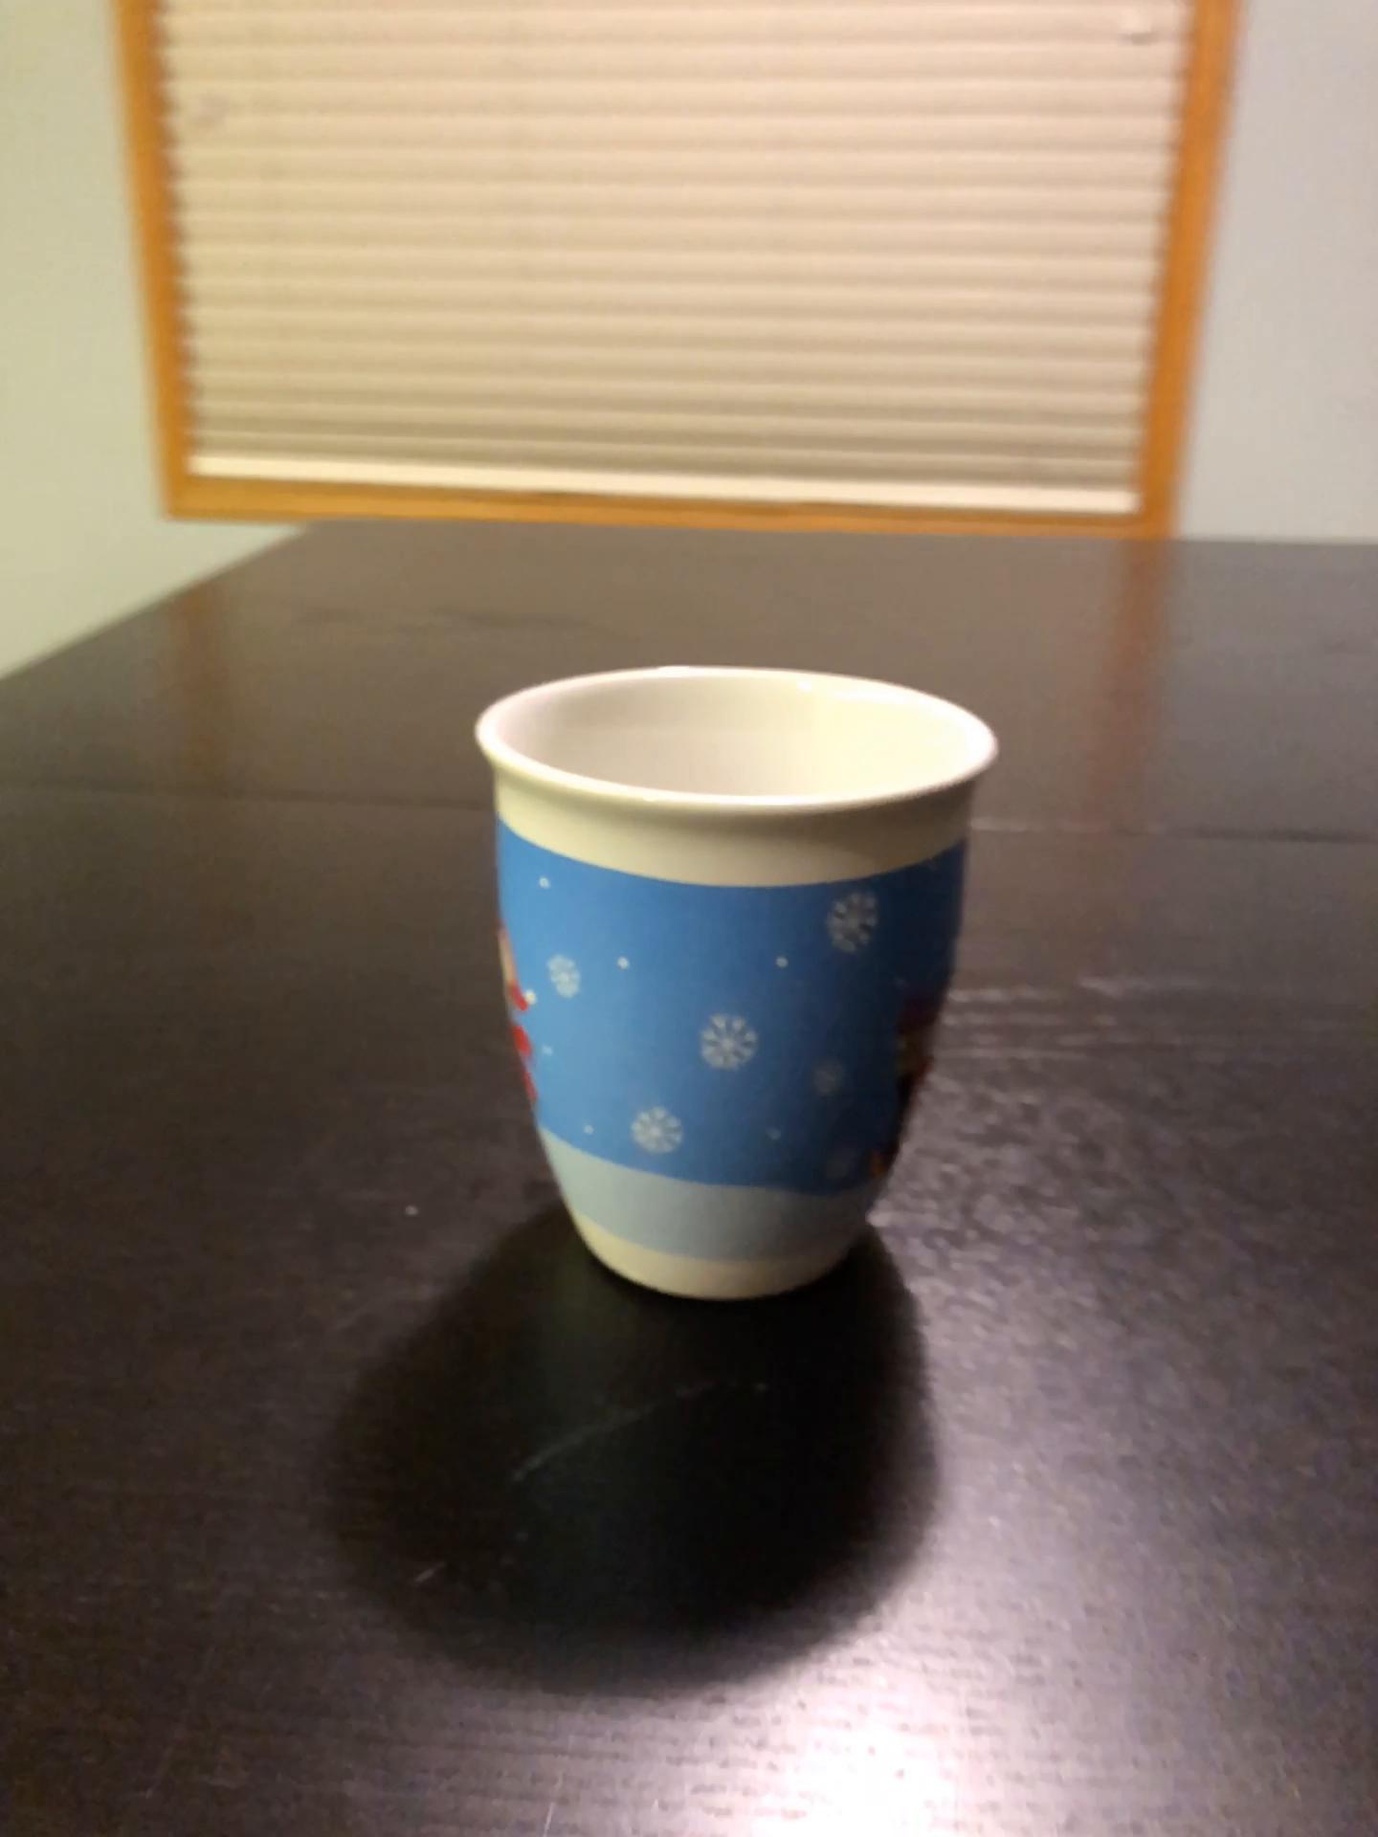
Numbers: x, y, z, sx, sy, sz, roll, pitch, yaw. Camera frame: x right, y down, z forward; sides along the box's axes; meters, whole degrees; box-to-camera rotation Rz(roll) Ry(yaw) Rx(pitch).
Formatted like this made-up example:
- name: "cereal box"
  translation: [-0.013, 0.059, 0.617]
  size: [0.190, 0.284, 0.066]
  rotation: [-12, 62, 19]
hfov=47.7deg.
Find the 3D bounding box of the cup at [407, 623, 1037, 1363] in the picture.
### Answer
- name: "cup"
  translation: [0.012, 0.003, 0.329]
  size: [0.100, 0.100, 0.141]
  rotation: [4, 22, 7]
